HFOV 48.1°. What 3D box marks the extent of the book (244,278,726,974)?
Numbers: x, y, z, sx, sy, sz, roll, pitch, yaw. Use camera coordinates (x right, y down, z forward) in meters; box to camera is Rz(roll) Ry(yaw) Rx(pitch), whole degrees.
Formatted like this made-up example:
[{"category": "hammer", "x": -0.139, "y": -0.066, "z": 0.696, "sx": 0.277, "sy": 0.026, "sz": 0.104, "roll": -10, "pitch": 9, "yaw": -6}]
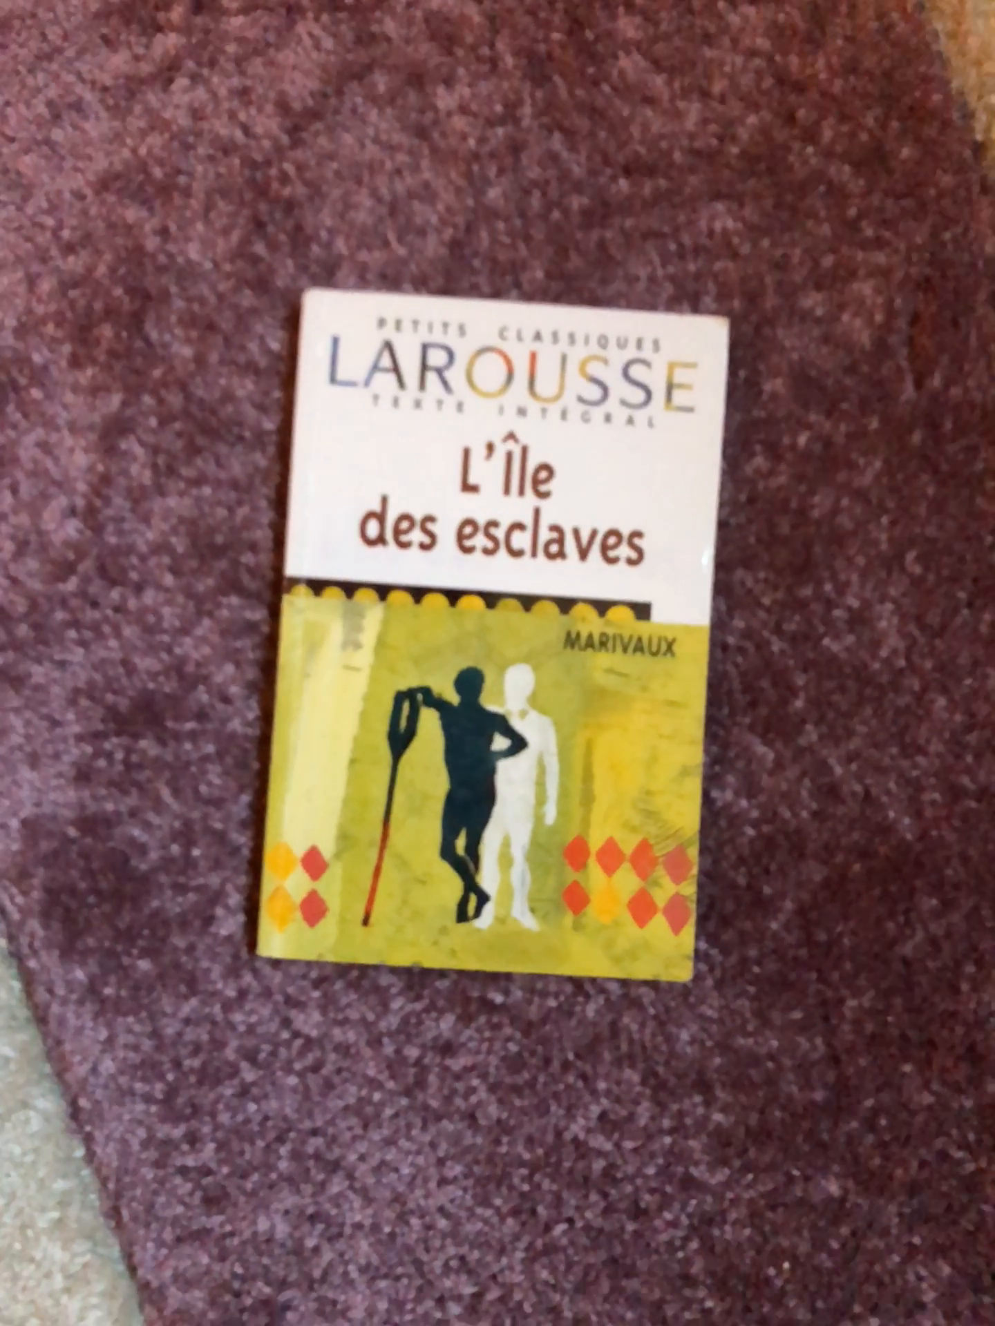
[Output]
[{"category": "book", "x": -0.002, "y": -0.009, "z": 0.286, "sx": 0.110, "sy": 0.020, "sz": 0.166, "roll": 3, "pitch": 88, "yaw": -2}]
